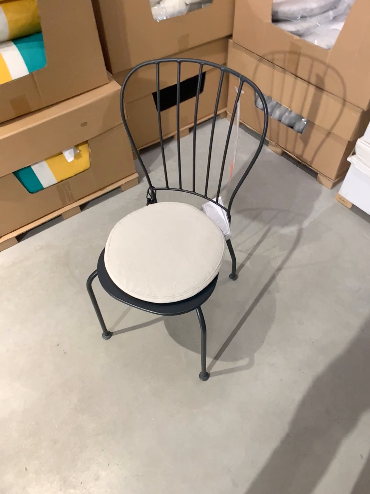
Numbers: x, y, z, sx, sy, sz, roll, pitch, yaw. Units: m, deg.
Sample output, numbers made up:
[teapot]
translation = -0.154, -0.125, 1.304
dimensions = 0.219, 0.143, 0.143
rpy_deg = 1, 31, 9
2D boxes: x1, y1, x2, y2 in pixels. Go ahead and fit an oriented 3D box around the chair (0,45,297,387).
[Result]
[chair]
translation = -0.049, -0.037, 1.146
dimensions = 0.480, 0.818, 0.521
rpy_deg = 19, 56, 15
